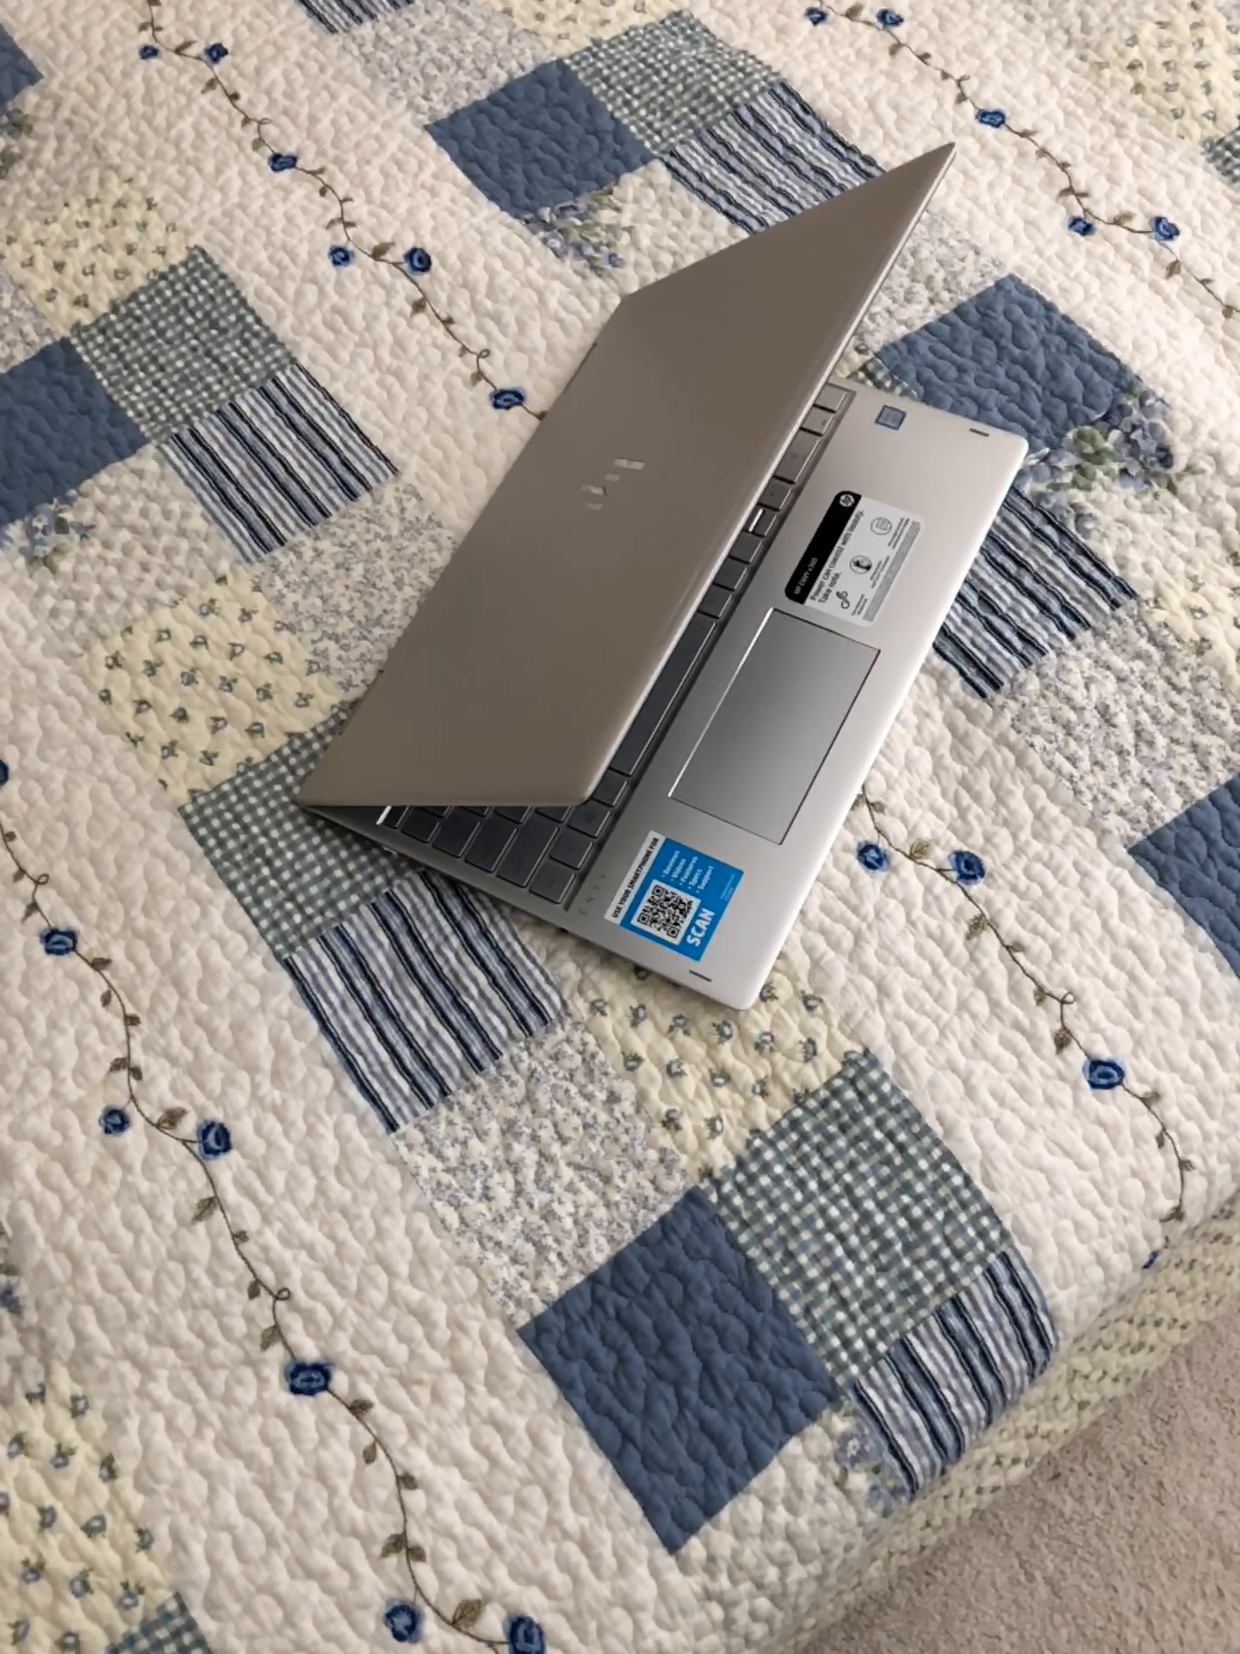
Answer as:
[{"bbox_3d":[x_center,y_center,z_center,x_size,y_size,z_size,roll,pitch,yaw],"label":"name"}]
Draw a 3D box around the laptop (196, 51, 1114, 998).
[{"bbox_3d":[0.028,-0.145,0.627,0.241,0.158,0.348,24,70,15],"label":"laptop"}]
